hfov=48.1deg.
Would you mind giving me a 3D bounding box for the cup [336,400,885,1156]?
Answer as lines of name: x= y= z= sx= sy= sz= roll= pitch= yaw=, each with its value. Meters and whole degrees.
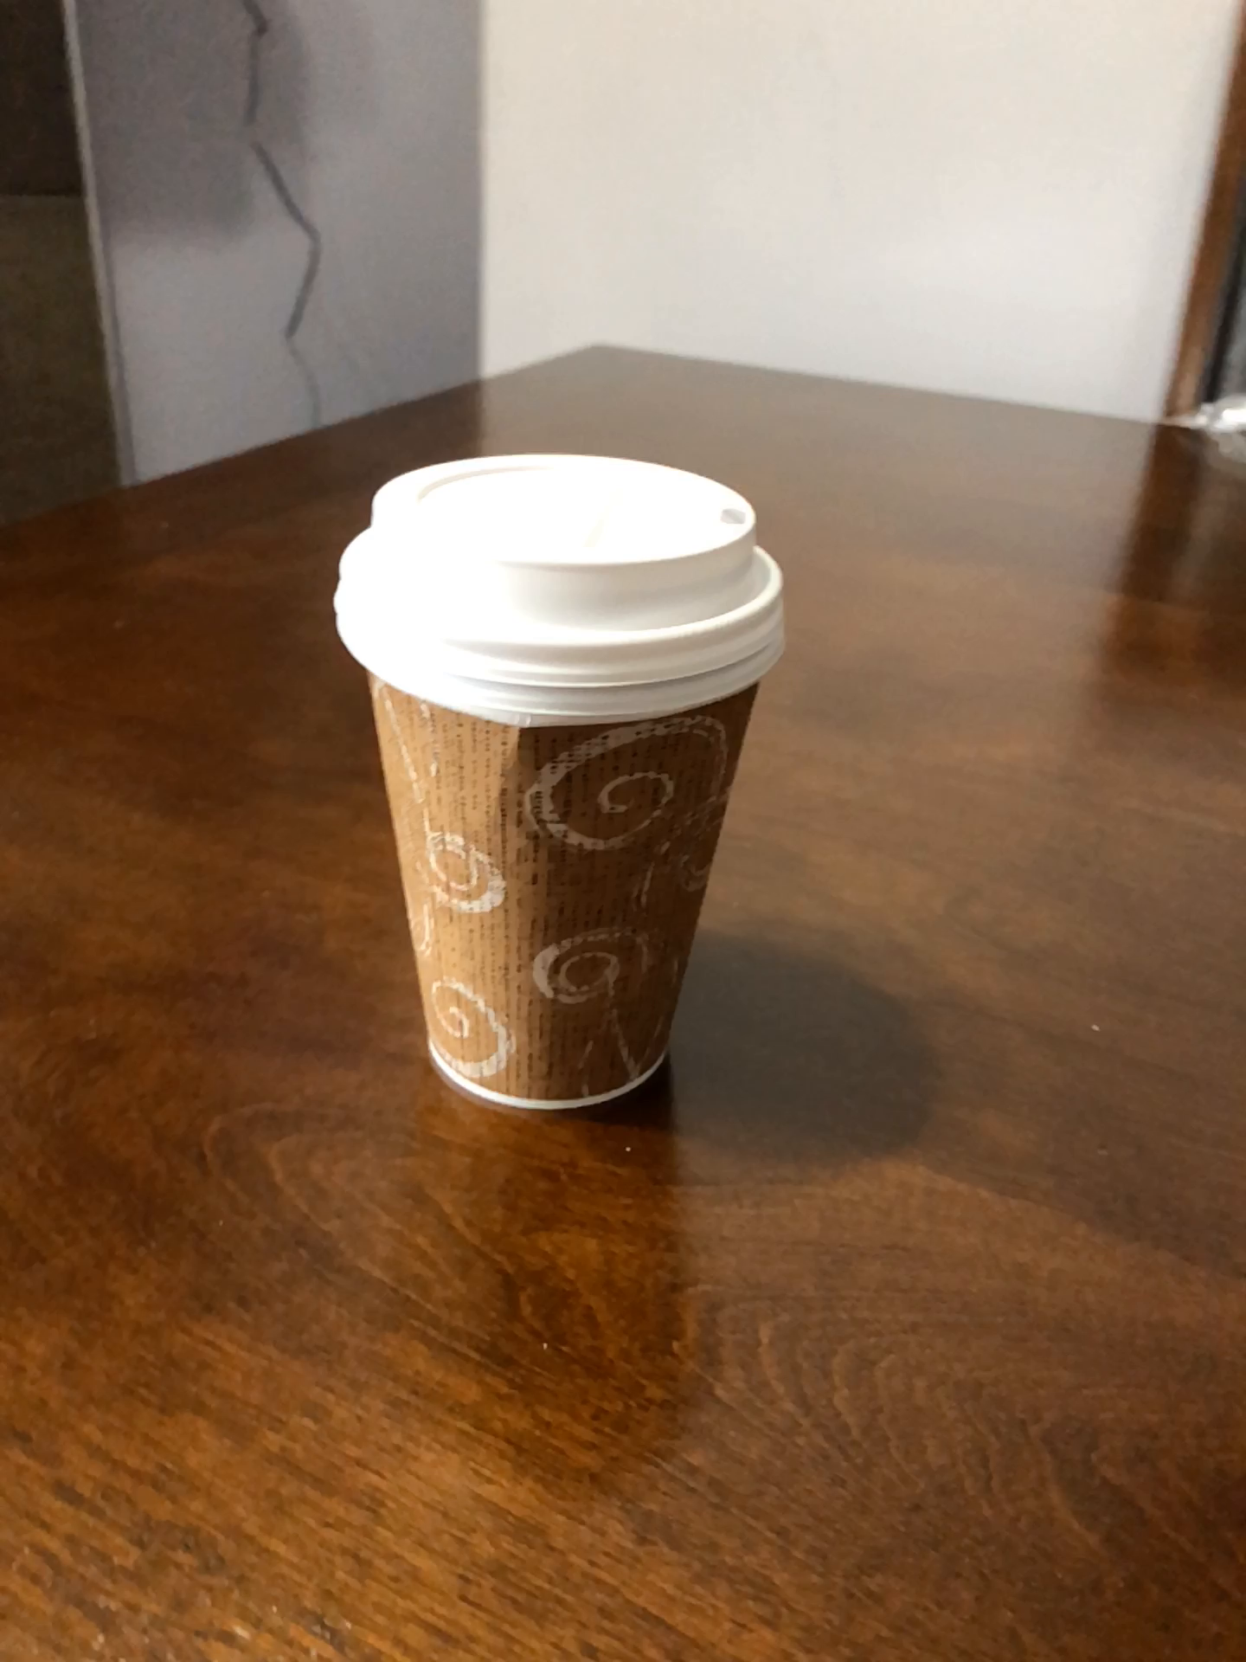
cup: x=-0.010 y=-0.013 z=0.239 sx=0.070 sy=0.100 sz=0.080 roll=-3 pitch=29 yaw=-12
